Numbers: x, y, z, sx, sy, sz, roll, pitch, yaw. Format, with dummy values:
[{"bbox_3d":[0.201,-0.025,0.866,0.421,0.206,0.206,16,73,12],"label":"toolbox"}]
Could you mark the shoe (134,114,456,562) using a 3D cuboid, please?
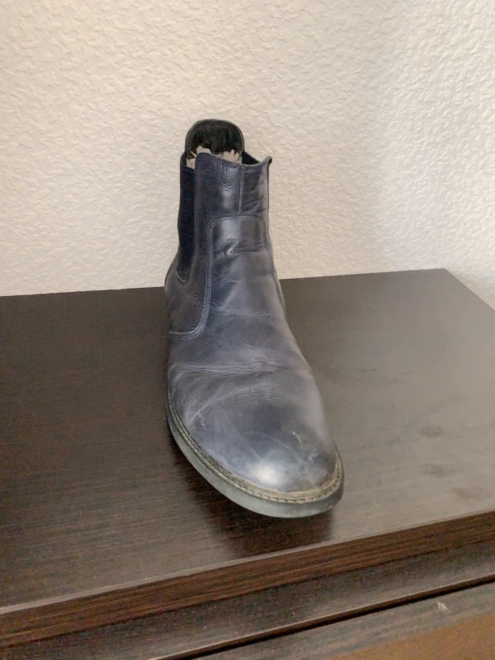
[{"bbox_3d":[-0.011,-0.032,0.356,0.110,0.159,0.302,-4,35,-14],"label":"shoe"}]
